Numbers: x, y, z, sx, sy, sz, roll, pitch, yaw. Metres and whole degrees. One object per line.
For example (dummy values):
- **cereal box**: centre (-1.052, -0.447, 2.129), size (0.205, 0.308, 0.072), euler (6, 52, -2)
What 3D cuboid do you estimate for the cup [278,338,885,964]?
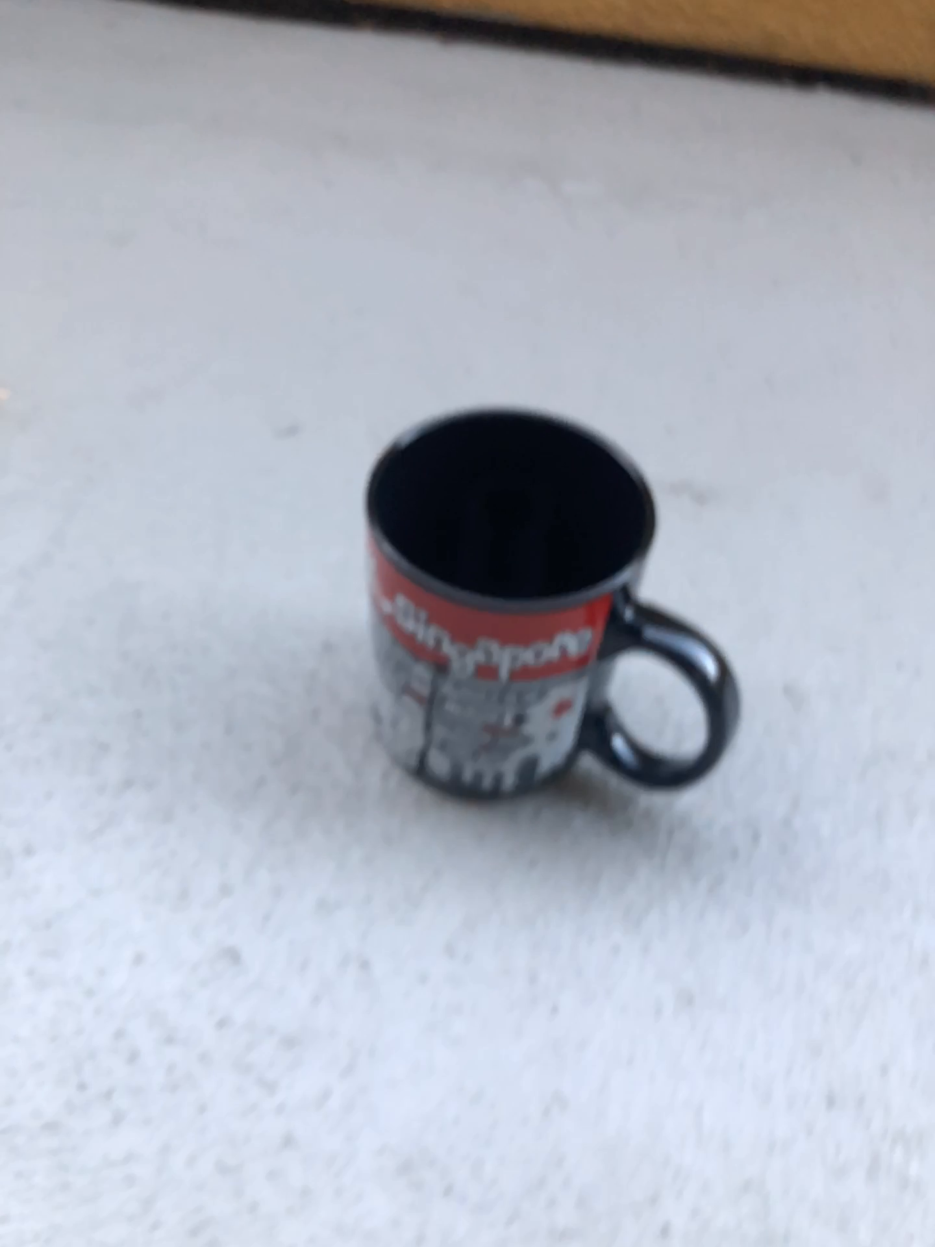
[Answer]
- **cup**: centre (0.025, 0.007, 0.309), size (0.130, 0.110, 0.080), euler (30, 54, 20)
